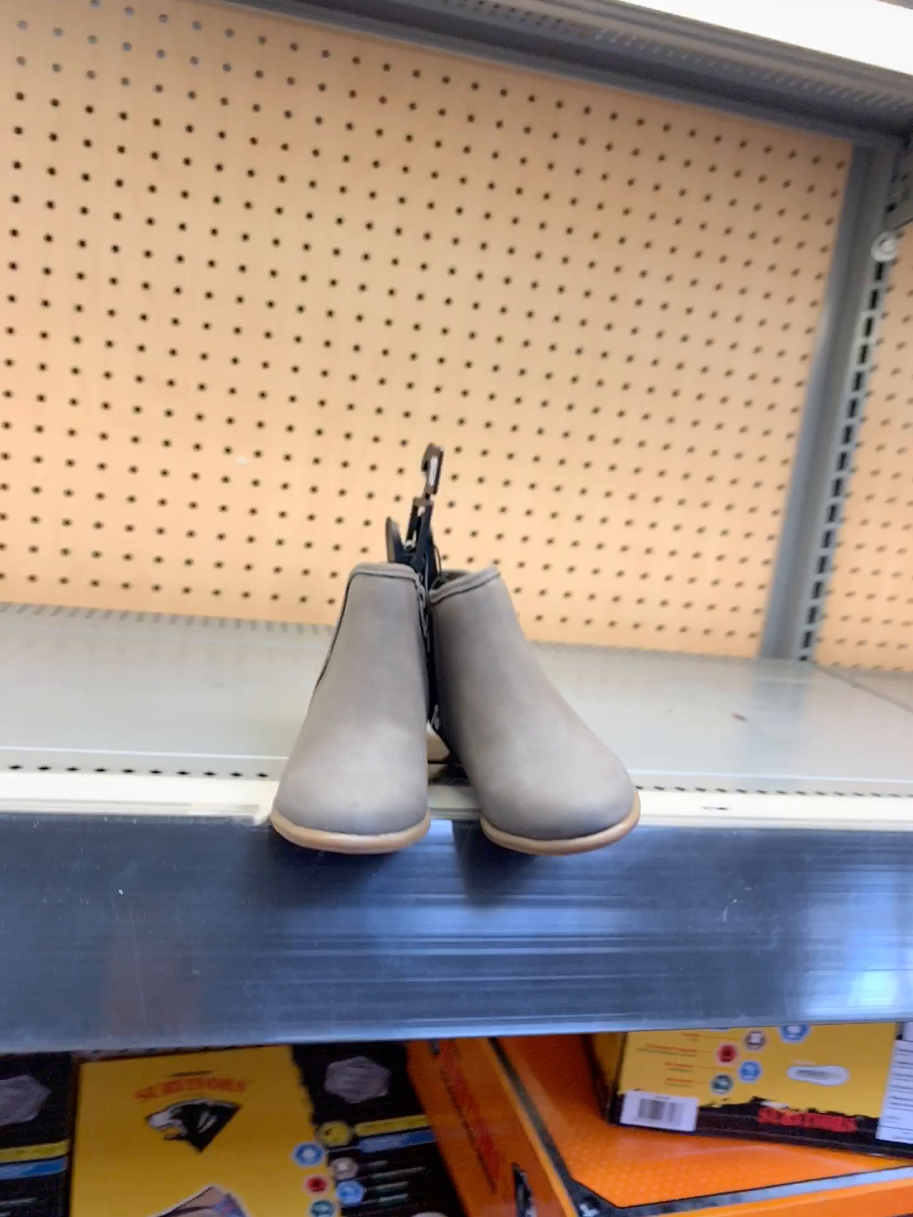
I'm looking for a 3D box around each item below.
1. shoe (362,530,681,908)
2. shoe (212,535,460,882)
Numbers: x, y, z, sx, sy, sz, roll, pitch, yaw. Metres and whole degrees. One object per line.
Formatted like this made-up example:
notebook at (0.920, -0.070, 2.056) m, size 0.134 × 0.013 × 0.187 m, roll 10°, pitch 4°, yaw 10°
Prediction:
shoe at (0.020, 0.036, 0.452) m, size 0.074 × 0.113 × 0.187 m, roll -12°, pitch 15°, yaw -16°
shoe at (-0.046, 0.031, 0.448) m, size 0.087 × 0.103 × 0.197 m, roll 4°, pitch 11°, yaw -1°
